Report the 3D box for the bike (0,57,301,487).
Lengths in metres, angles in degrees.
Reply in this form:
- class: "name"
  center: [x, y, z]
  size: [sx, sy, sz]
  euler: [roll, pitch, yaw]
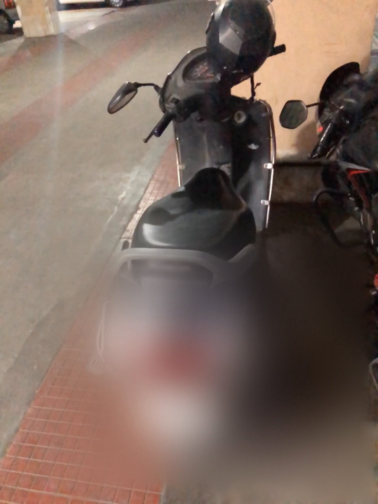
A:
- class: "bike"
  center: [-0.029, -0.114, 1.651]
  size: [0.595, 0.988, 1.502]
  euler: [-2, 33, 6]
